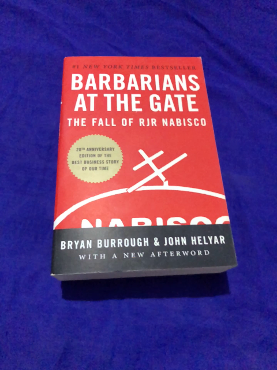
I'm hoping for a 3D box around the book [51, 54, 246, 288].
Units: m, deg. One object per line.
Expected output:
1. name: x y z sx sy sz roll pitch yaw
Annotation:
1. book: 0.002 -0.021 0.287 0.140 0.050 0.210 -1 66 -6
